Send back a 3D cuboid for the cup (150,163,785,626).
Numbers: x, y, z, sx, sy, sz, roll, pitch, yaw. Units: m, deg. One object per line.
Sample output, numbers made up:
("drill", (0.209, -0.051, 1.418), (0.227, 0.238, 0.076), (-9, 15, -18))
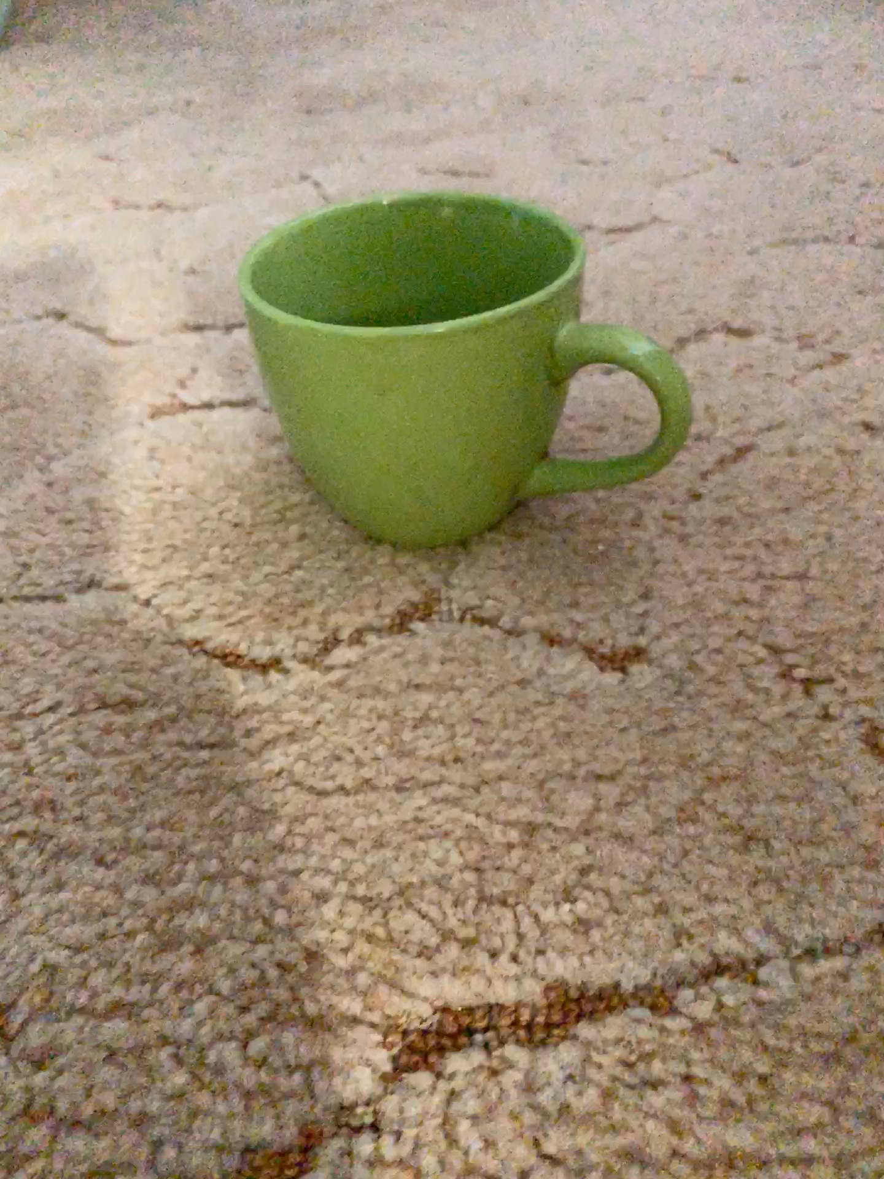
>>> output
("cup", (0.008, -0.059, 0.236), (0.120, 0.059, 0.091), (21, 44, 26))
